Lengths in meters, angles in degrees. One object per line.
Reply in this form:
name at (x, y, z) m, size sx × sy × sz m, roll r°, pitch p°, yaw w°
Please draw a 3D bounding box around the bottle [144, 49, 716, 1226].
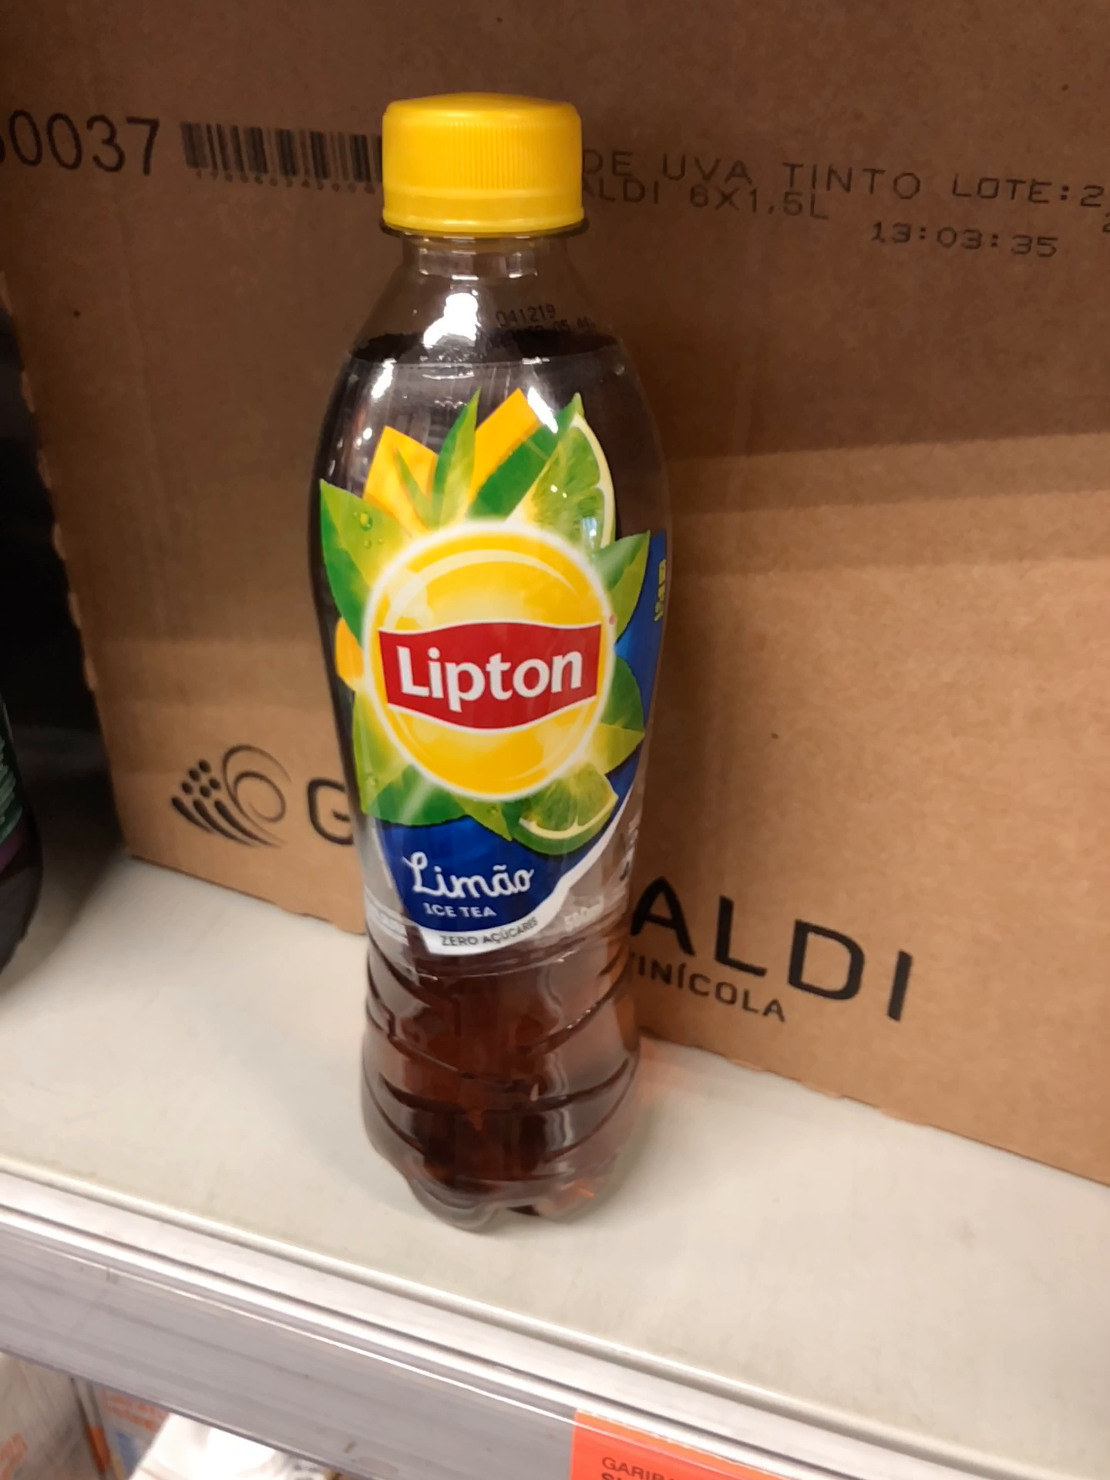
bottle at (-0.014, -0.004, 0.237) m, size 0.070 × 0.218 × 0.060 m, roll -1°, pitch 33°, yaw 0°
